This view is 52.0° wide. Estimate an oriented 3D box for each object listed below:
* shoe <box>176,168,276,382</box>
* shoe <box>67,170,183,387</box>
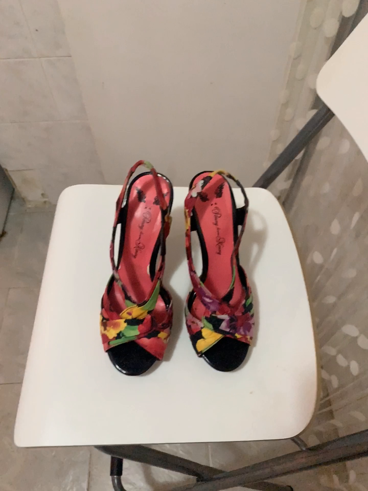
[{"bbox_3d":[0.036,0.031,0.401,0.080,0.086,0.205,-2,73,-1],"label":"shoe"},{"bbox_3d":[-0.052,0.033,0.394,0.082,0.074,0.205,4,73,3],"label":"shoe"}]
